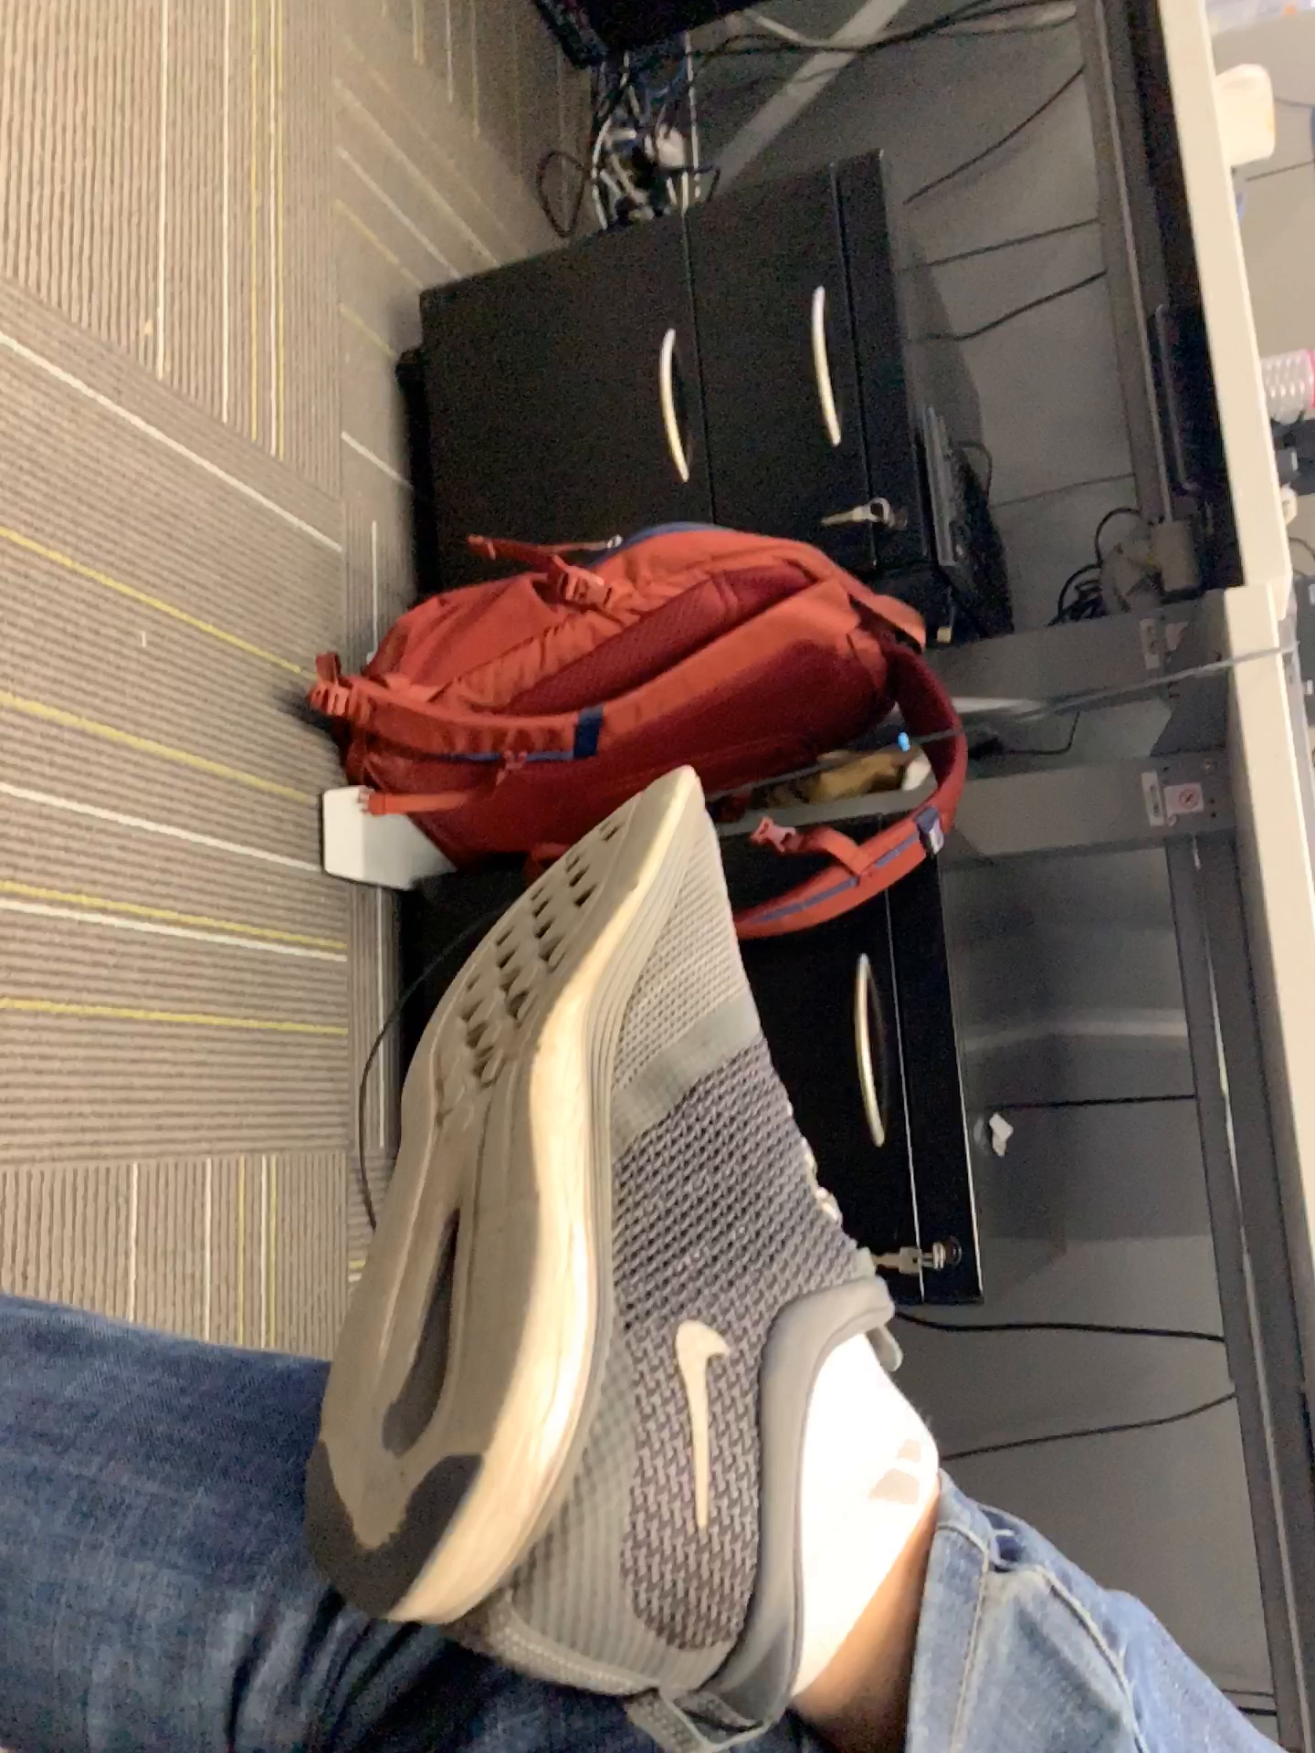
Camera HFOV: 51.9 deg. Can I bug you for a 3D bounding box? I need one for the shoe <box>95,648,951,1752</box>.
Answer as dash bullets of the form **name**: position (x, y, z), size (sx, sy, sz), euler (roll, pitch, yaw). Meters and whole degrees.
- **shoe**: position (-0.009, 0.087, 0.394), size (0.142, 0.115, 0.295), euler (35, 37, -17)
